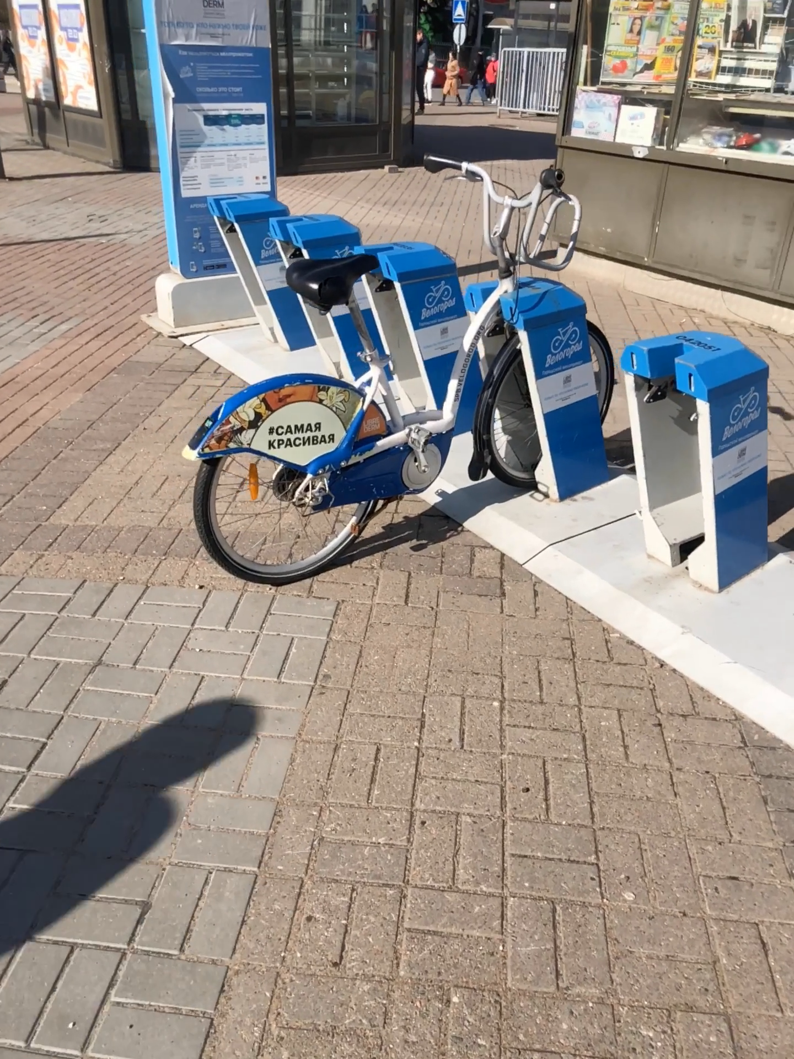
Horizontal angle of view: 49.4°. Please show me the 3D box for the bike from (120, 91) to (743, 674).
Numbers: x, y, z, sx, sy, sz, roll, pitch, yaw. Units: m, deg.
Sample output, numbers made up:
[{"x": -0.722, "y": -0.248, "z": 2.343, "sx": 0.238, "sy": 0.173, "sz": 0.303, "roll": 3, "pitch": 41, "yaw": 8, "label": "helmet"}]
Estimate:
[{"x": 0.128, "y": -0.546, "z": 2.618, "sx": 1.629, "sy": 1.203, "sz": 0.598, "roll": -21, "pitch": 35, "yaw": -29, "label": "bike"}]
